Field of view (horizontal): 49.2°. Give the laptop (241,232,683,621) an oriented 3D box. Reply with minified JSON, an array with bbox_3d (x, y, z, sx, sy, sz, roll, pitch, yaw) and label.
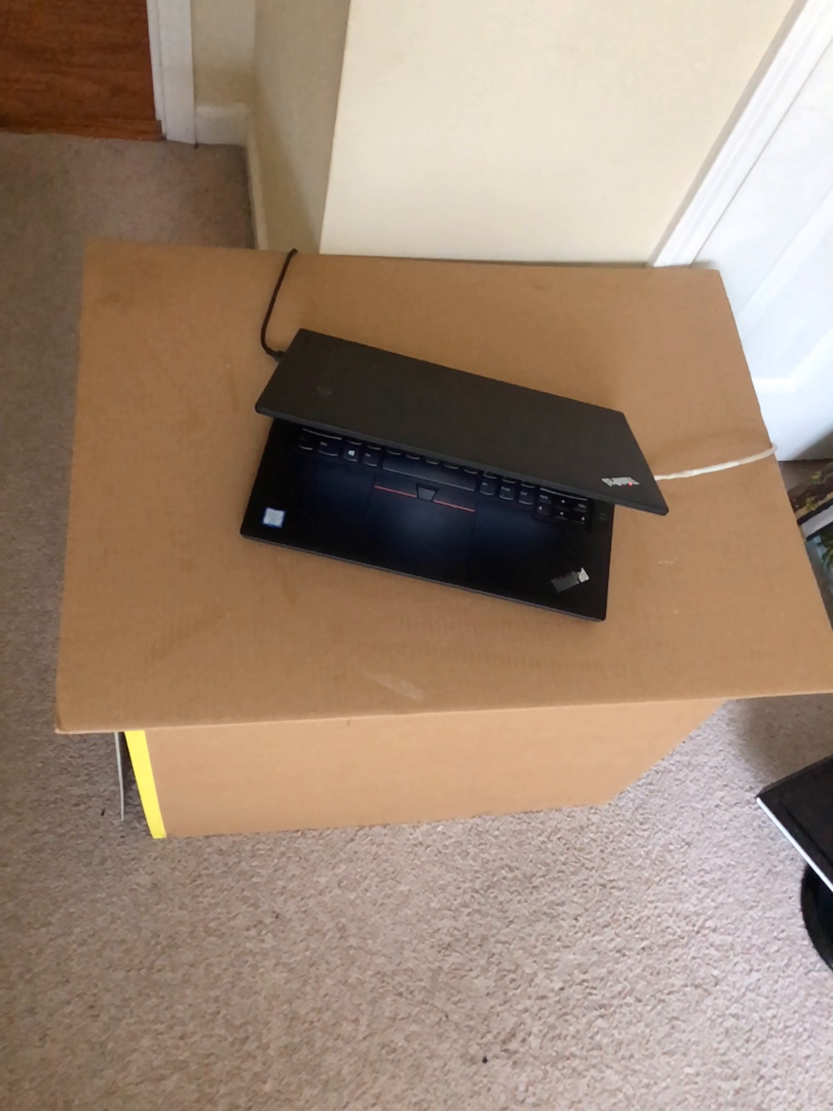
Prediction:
[{"bbox_3d":[0.043,-0.109,0.799,0.334,0.140,0.232,14,61,-5],"label":"laptop"}]
